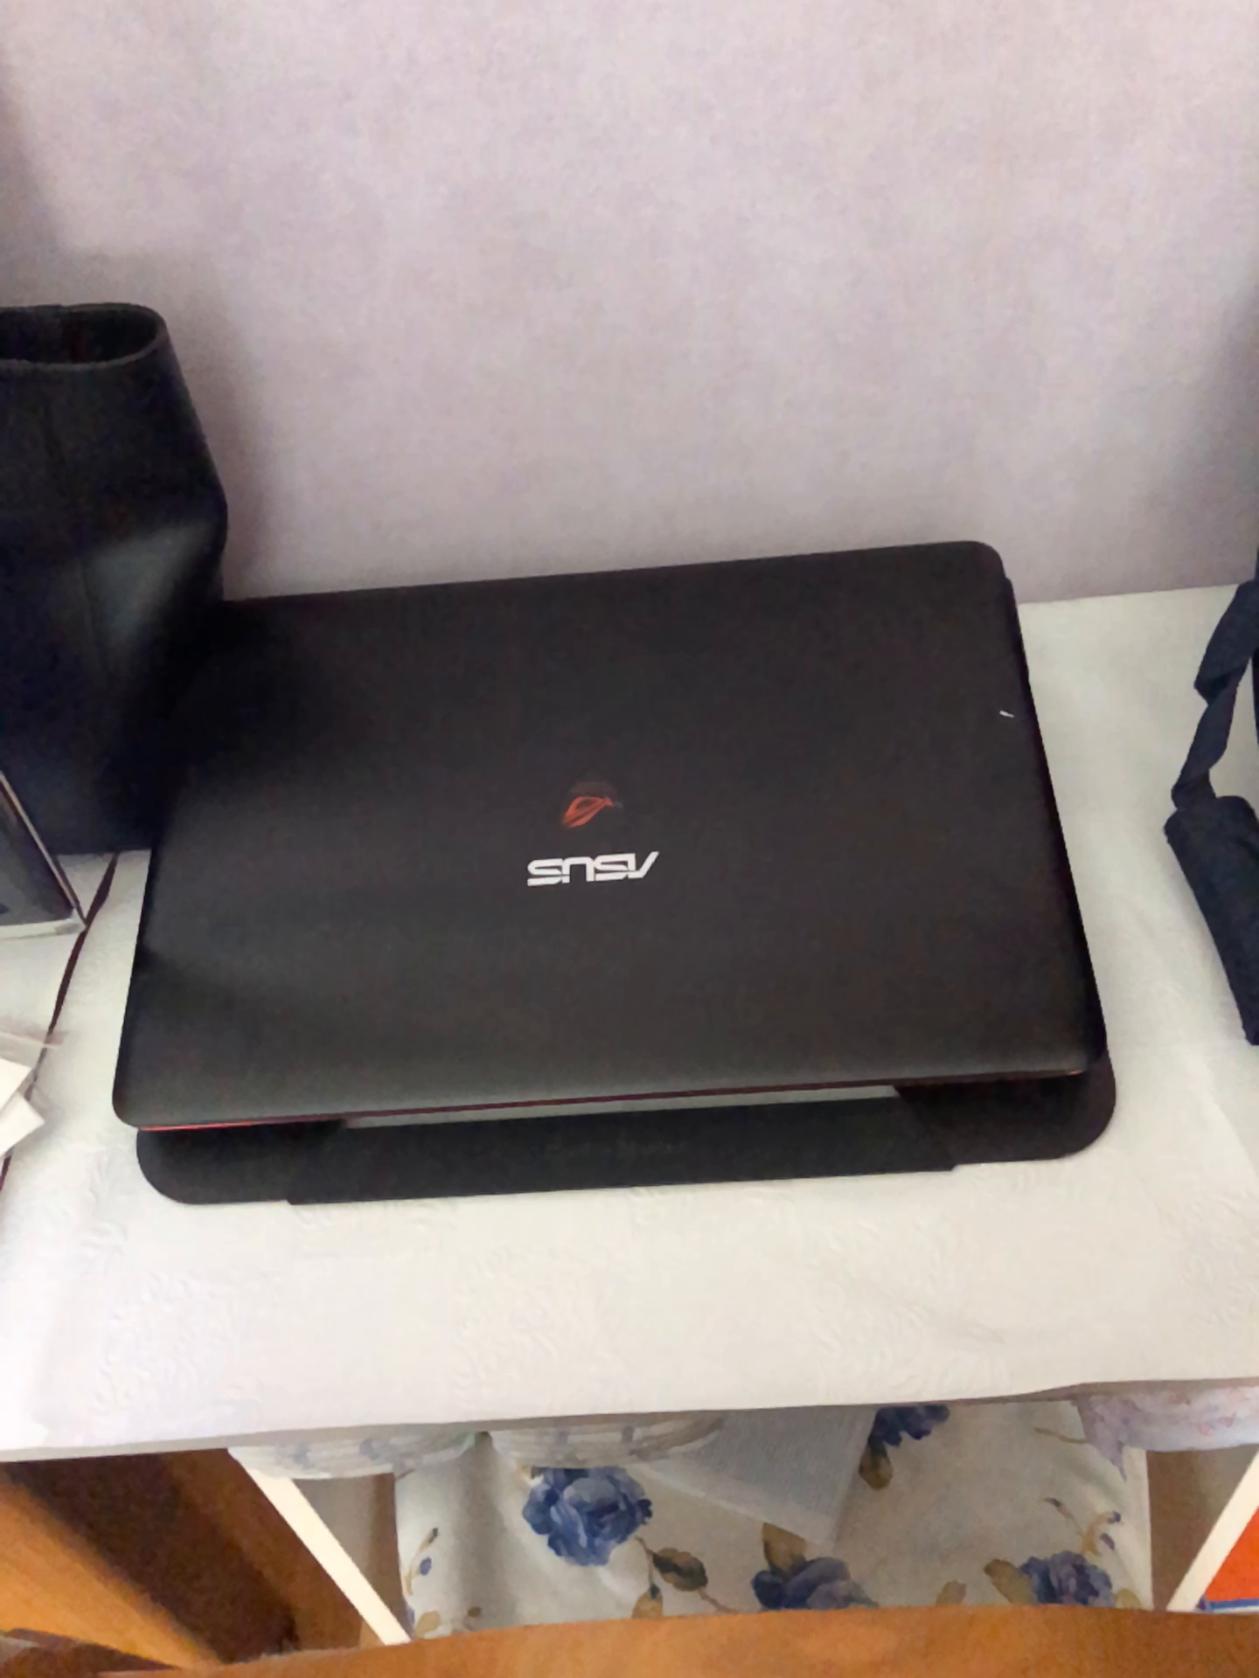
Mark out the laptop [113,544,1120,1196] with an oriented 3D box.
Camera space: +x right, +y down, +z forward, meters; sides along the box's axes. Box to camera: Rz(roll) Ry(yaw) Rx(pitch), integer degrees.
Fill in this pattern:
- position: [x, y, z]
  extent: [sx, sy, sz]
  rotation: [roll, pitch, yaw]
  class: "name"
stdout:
- position: [-0.015, 0.006, 0.631]
  extent: [0.394, 0.060, 0.267]
  rotation: [-4, 58, 4]
  class: "laptop"
